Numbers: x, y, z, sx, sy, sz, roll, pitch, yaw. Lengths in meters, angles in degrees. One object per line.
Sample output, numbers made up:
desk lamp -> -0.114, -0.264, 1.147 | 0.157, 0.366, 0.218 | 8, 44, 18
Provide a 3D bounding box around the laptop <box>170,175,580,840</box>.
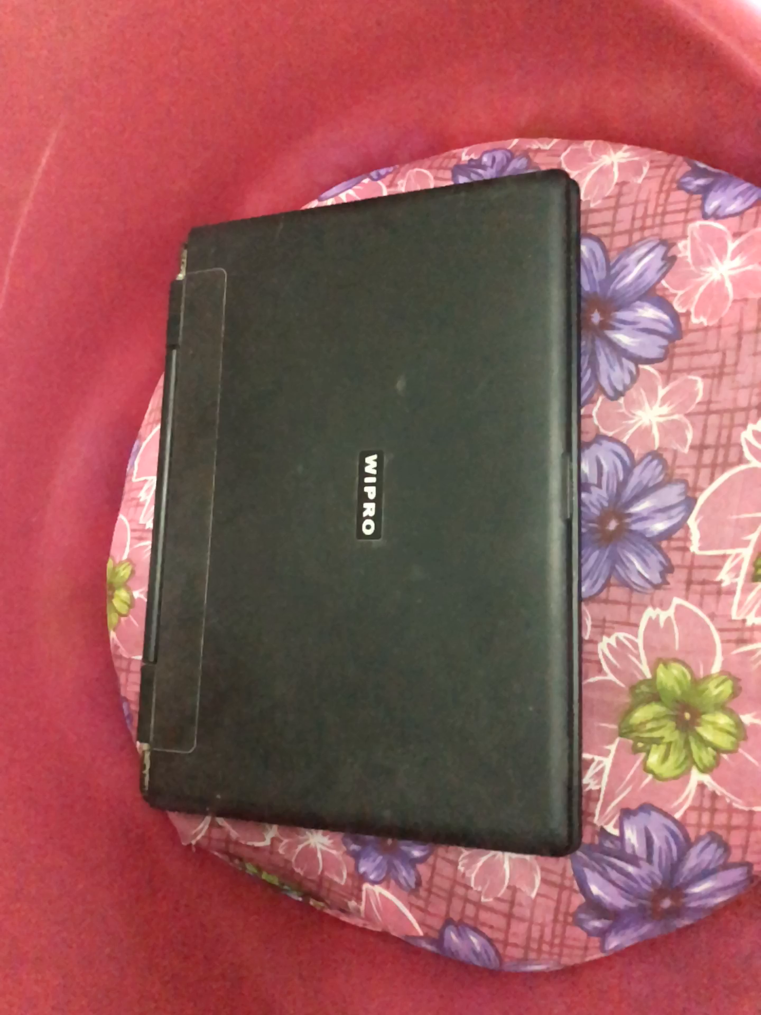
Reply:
laptop -> -0.007, -0.007, 0.447 | 0.220, 0.006, 0.322 | -1, 81, 23
